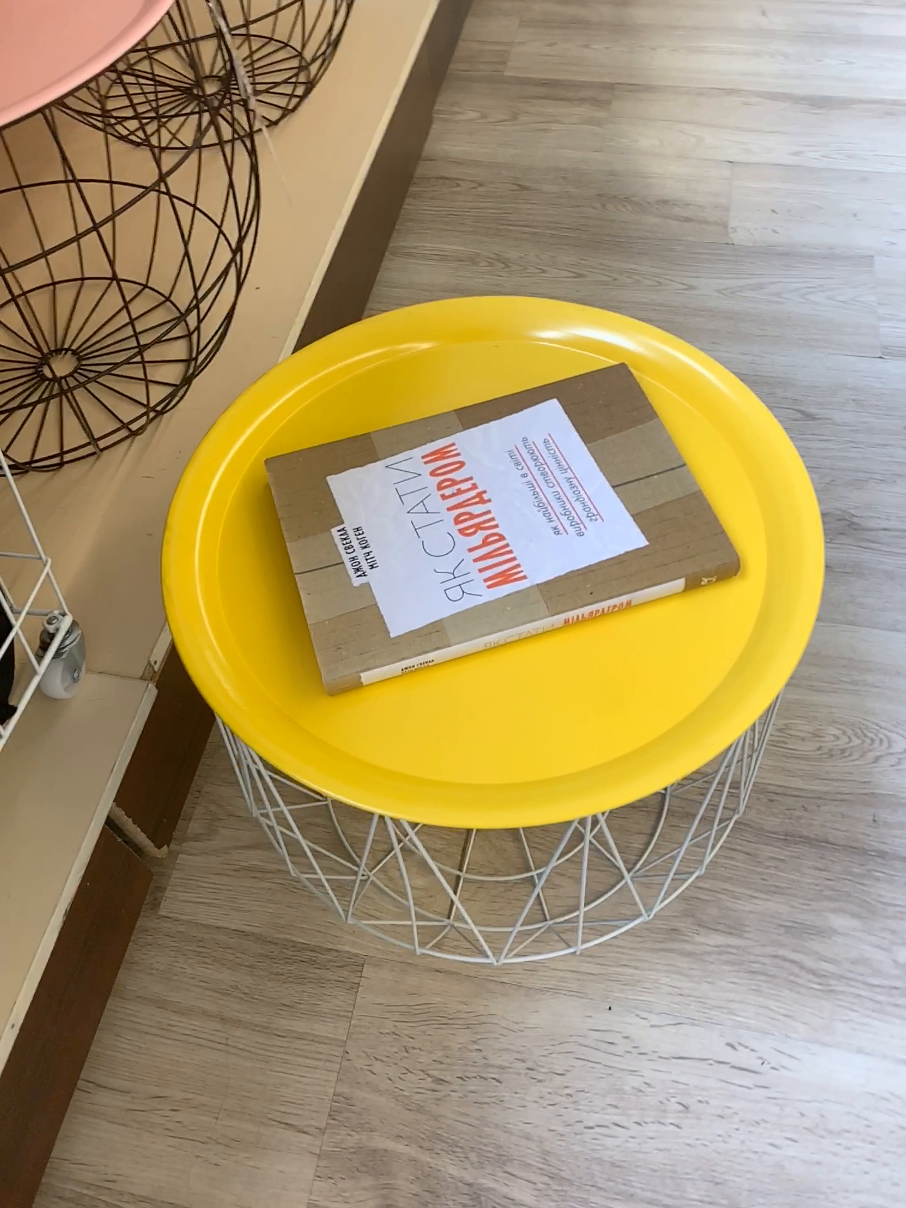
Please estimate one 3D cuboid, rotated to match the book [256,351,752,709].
[{"bbox_3d":[0.021,-0.053,0.533,0.236,0.020,0.170,-18,57,-8],"label":"book"}]
